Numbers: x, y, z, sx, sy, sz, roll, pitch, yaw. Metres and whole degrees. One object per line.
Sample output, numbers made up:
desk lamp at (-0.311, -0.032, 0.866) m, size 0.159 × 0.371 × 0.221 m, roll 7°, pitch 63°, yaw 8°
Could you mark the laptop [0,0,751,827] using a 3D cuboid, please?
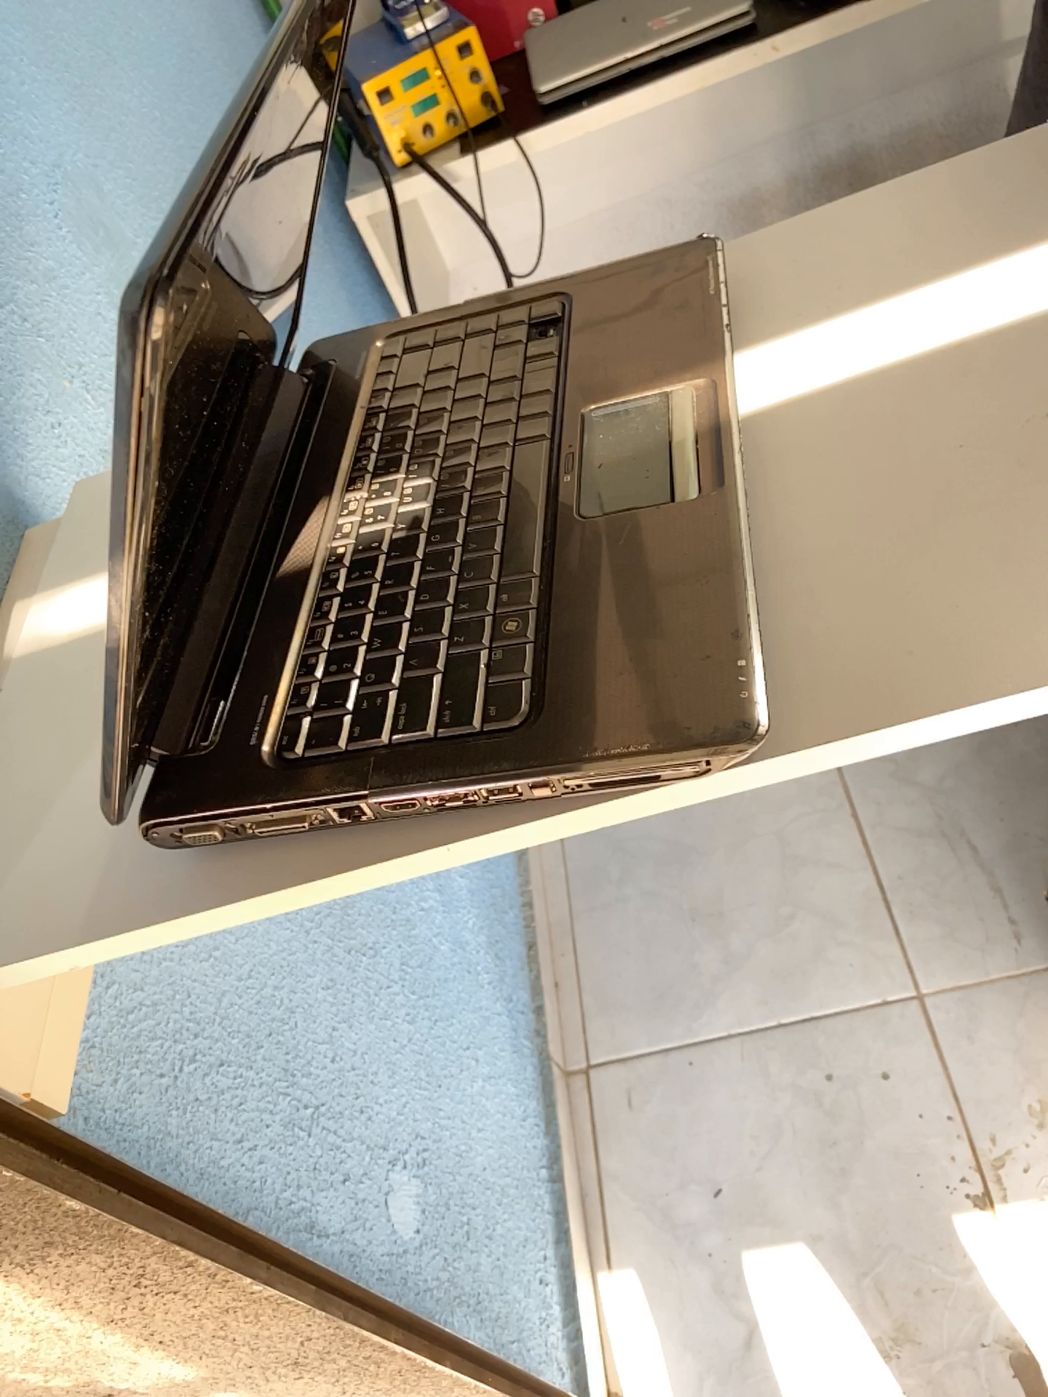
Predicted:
laptop at (-0.062, -0.158, 0.441) m, size 0.244 × 0.190 × 0.345 m, roll -10°, pitch 48°, yaw 17°
